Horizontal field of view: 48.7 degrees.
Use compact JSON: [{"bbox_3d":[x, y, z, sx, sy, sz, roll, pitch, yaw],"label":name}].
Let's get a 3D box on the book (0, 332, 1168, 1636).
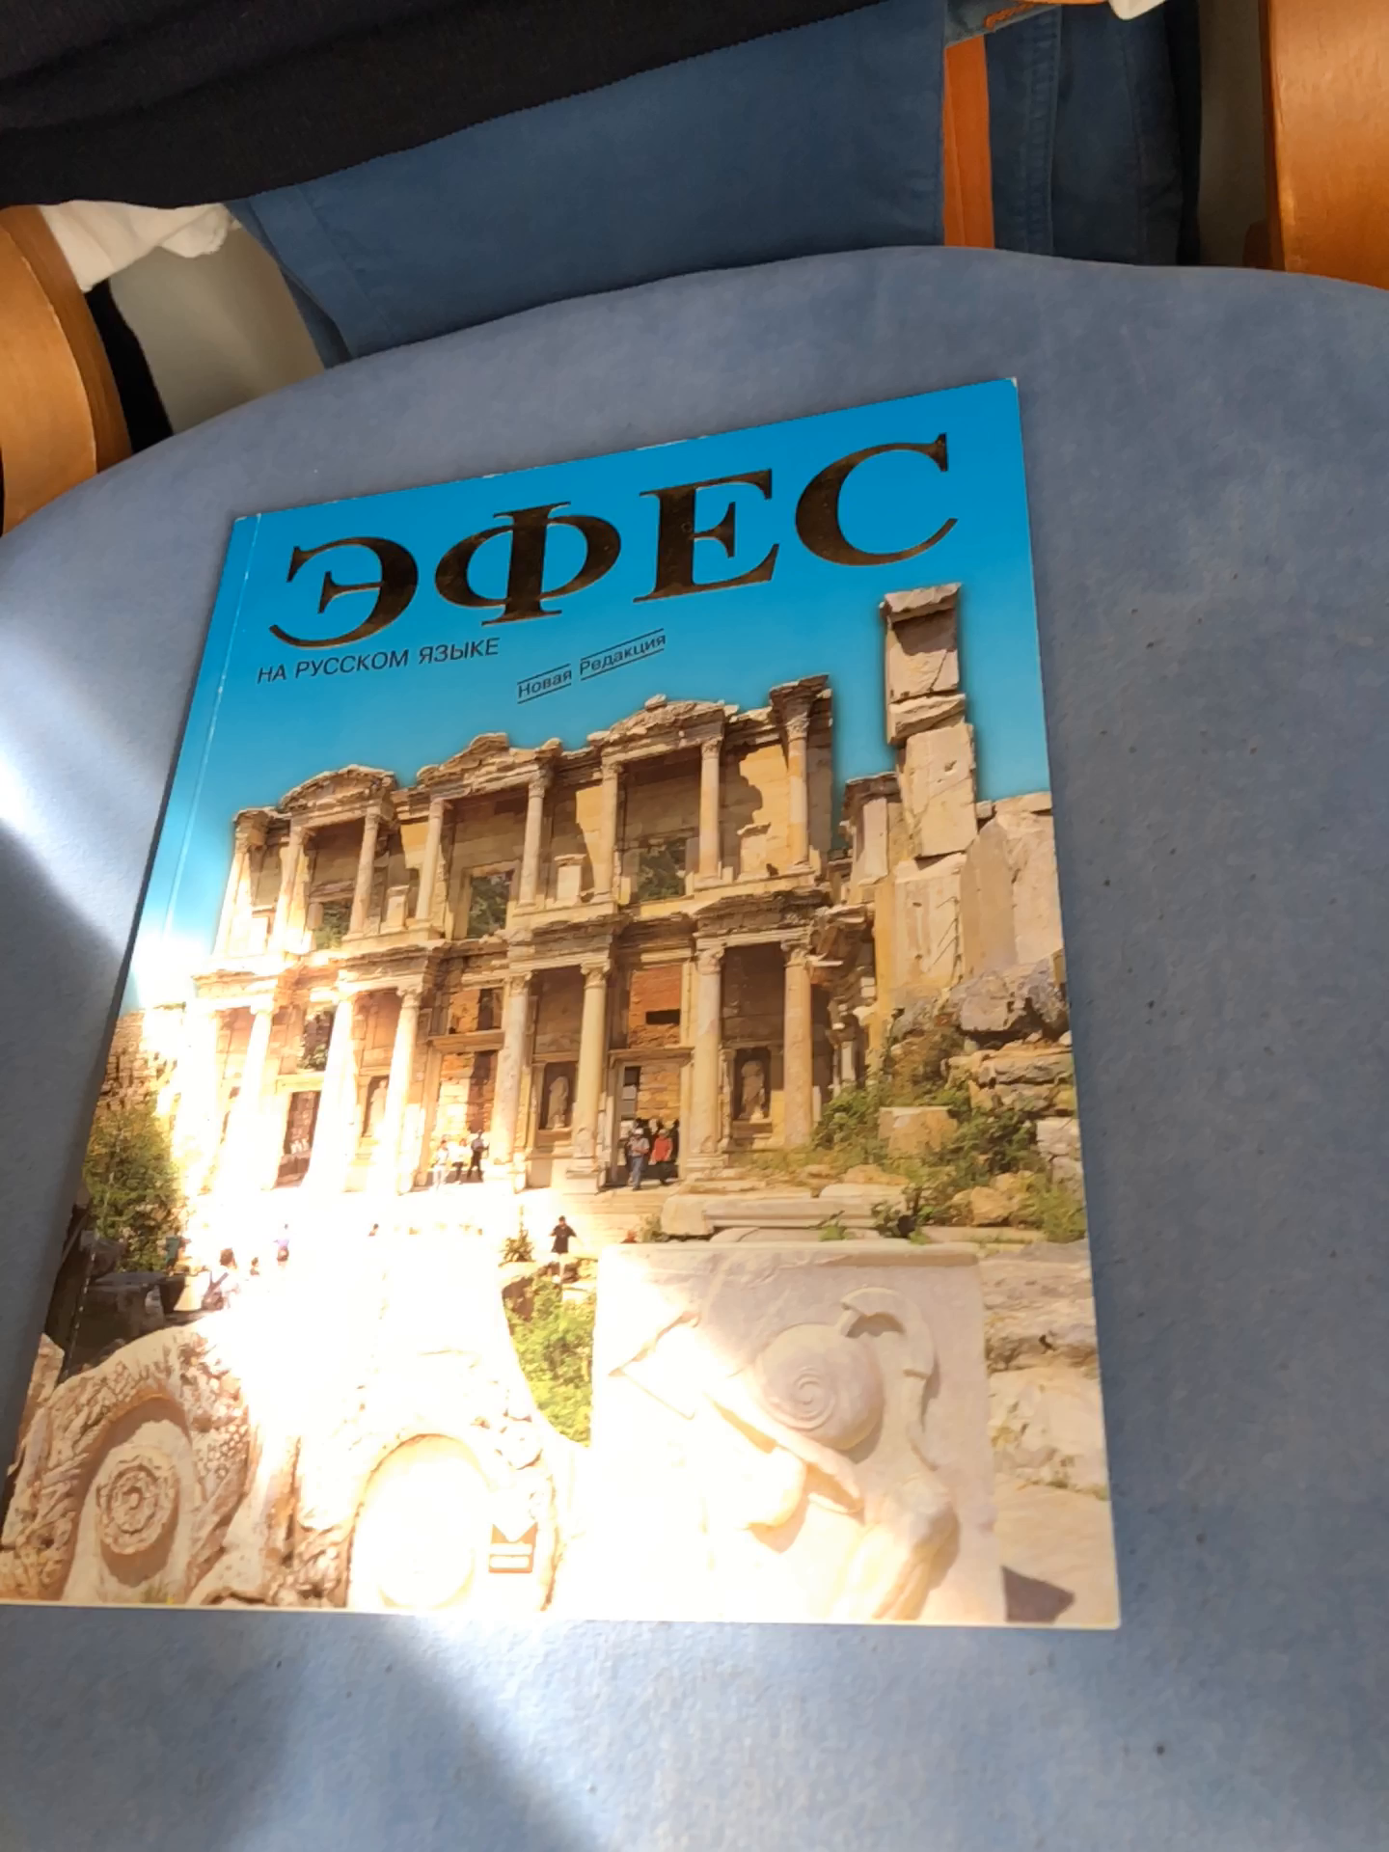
[{"bbox_3d":[-0.025,-0.001,0.291,0.196,0.020,0.241,-5,62,14],"label":"book"}]
